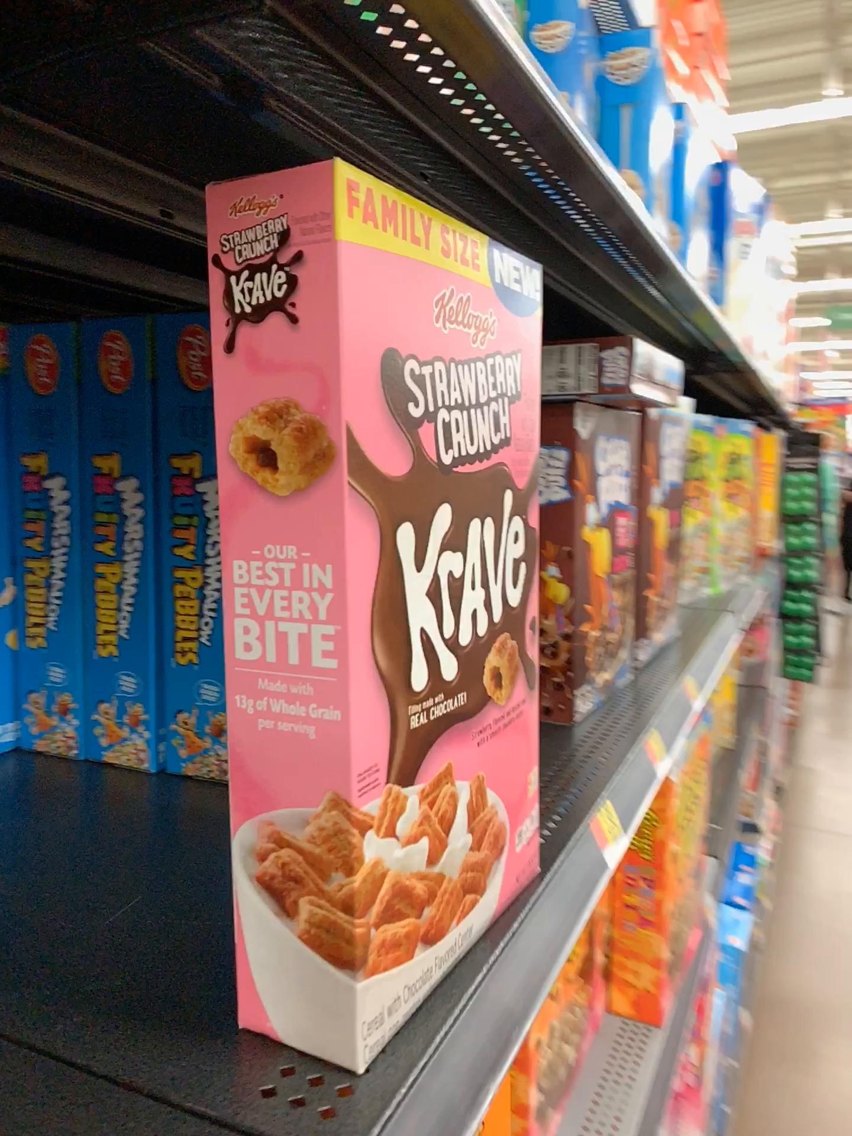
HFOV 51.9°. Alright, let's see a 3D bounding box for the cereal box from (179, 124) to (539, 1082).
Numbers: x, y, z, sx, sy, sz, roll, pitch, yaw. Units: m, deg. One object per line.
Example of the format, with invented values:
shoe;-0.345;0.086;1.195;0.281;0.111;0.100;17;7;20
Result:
cereal box;-0.012;0.009;0.401;0.060;0.330;0.200;2;6;28
